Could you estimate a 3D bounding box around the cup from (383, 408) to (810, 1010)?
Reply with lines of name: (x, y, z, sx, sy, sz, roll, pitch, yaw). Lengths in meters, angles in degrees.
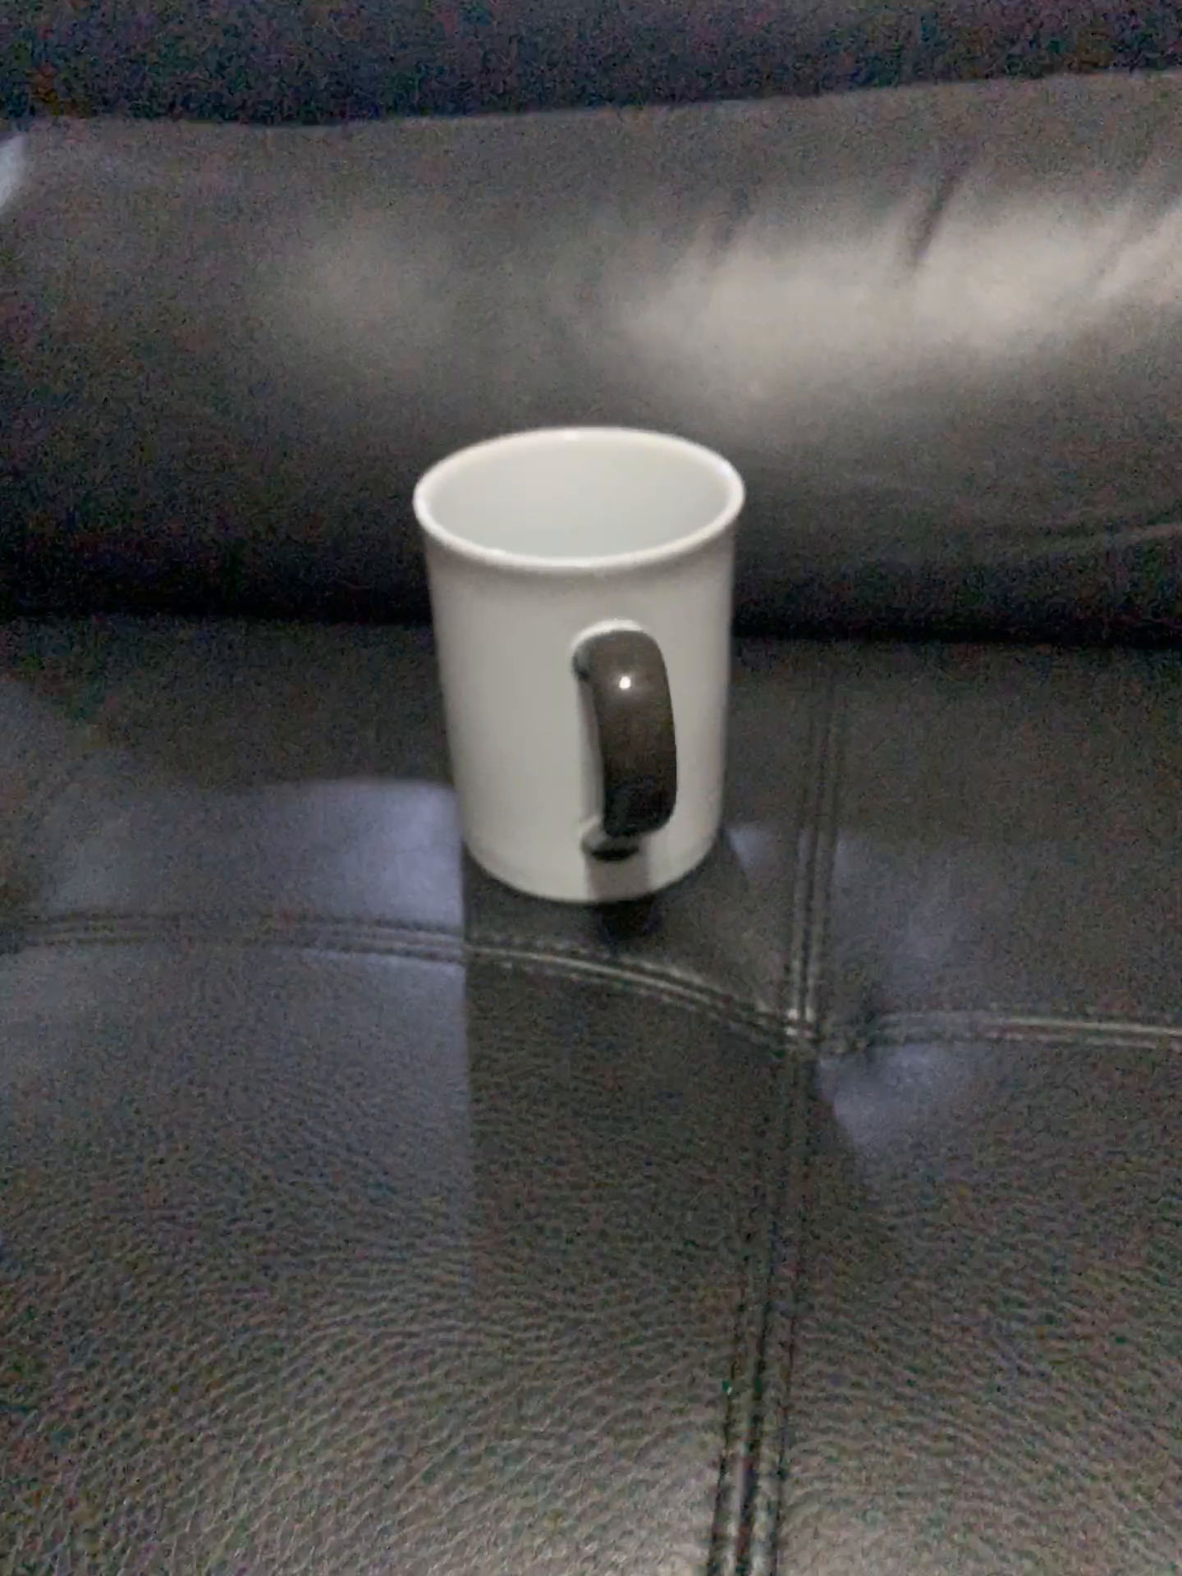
cup: (-0.005, -0.029, 0.350, 0.092, 0.115, 0.125, -6, 32, -6)
